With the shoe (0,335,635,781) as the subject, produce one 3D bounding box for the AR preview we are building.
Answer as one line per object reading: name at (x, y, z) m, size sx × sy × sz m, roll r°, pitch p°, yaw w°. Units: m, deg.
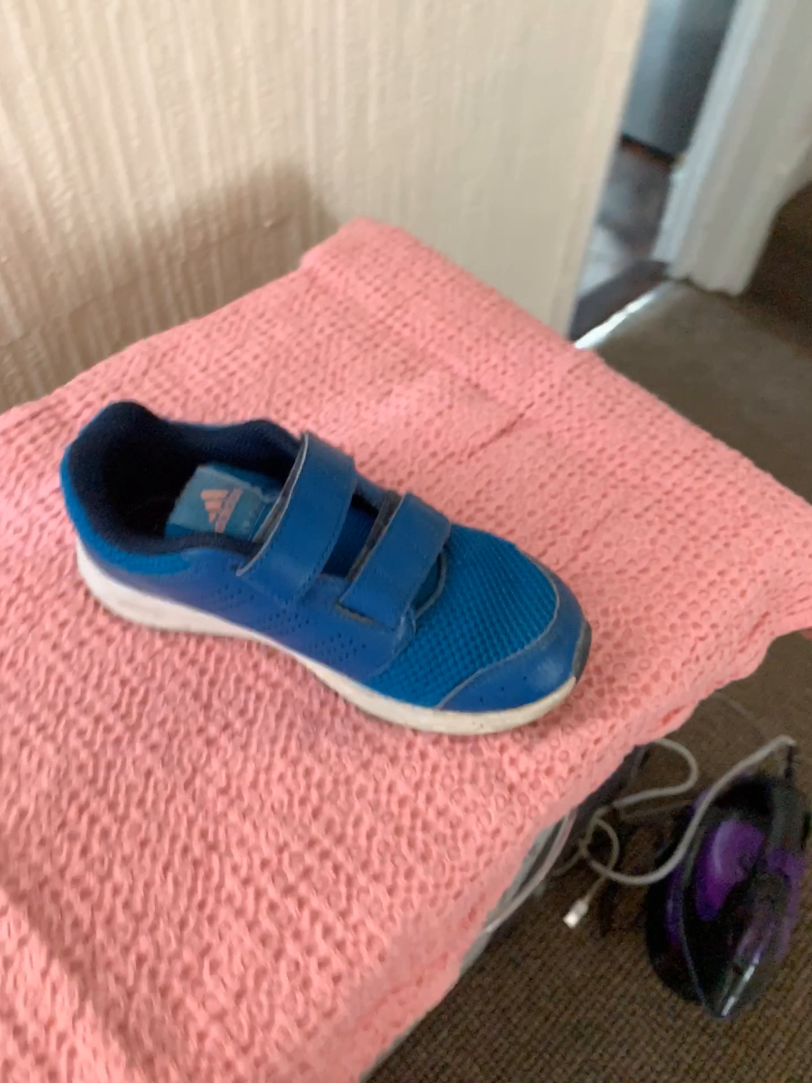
shoe at (-0.032, 0.003, 0.321) m, size 0.207 × 0.075 × 0.085 m, roll 17°, pitch 54°, yaw 9°
